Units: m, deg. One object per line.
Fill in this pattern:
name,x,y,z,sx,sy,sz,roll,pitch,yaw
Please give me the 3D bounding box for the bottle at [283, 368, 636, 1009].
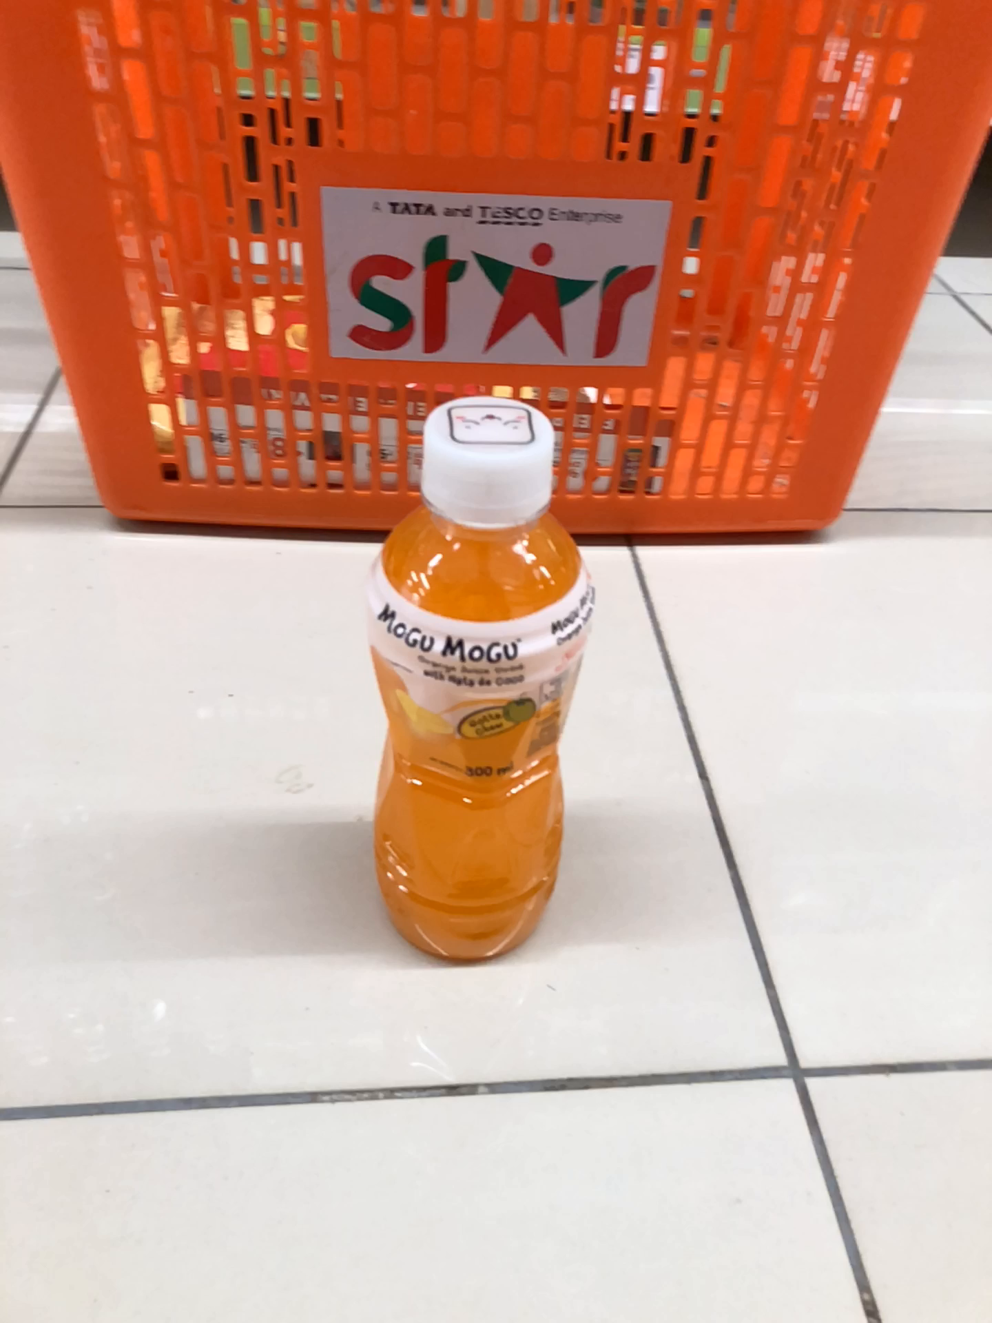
bottle,-0.010,0.014,0.286,0.060,0.159,0.050,18,42,17
